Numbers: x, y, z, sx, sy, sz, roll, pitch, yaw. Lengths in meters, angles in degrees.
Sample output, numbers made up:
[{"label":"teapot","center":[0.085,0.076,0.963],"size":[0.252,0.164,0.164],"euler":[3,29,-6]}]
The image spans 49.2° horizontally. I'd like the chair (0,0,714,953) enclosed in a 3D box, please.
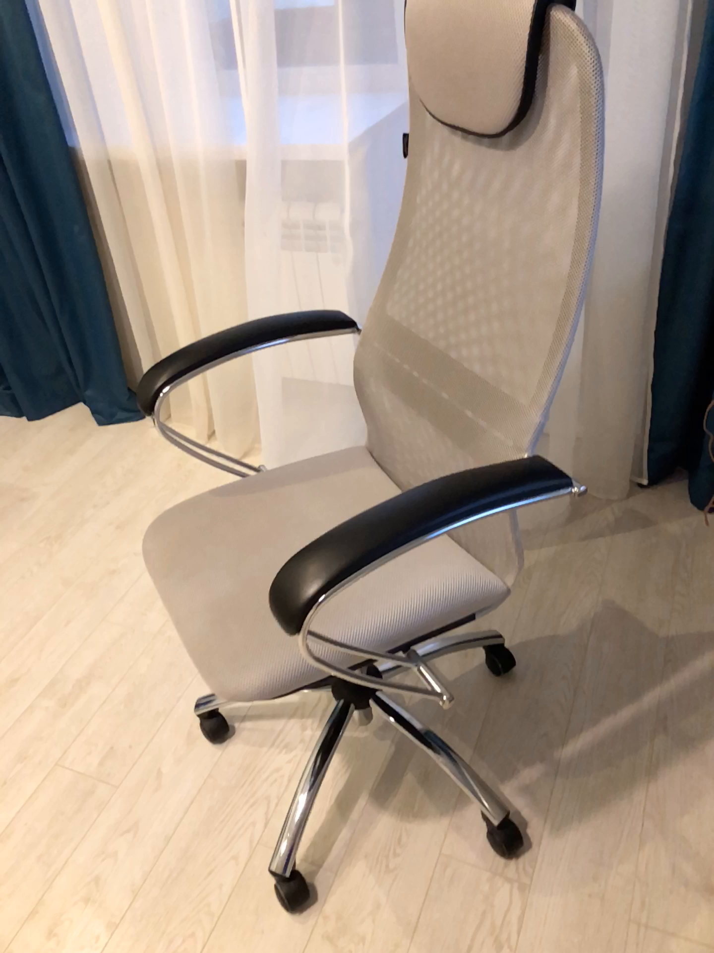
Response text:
[{"label":"chair","center":[0.026,0.019,1.149],"size":[0.681,1.291,0.694],"euler":[-23,39,-19]}]
